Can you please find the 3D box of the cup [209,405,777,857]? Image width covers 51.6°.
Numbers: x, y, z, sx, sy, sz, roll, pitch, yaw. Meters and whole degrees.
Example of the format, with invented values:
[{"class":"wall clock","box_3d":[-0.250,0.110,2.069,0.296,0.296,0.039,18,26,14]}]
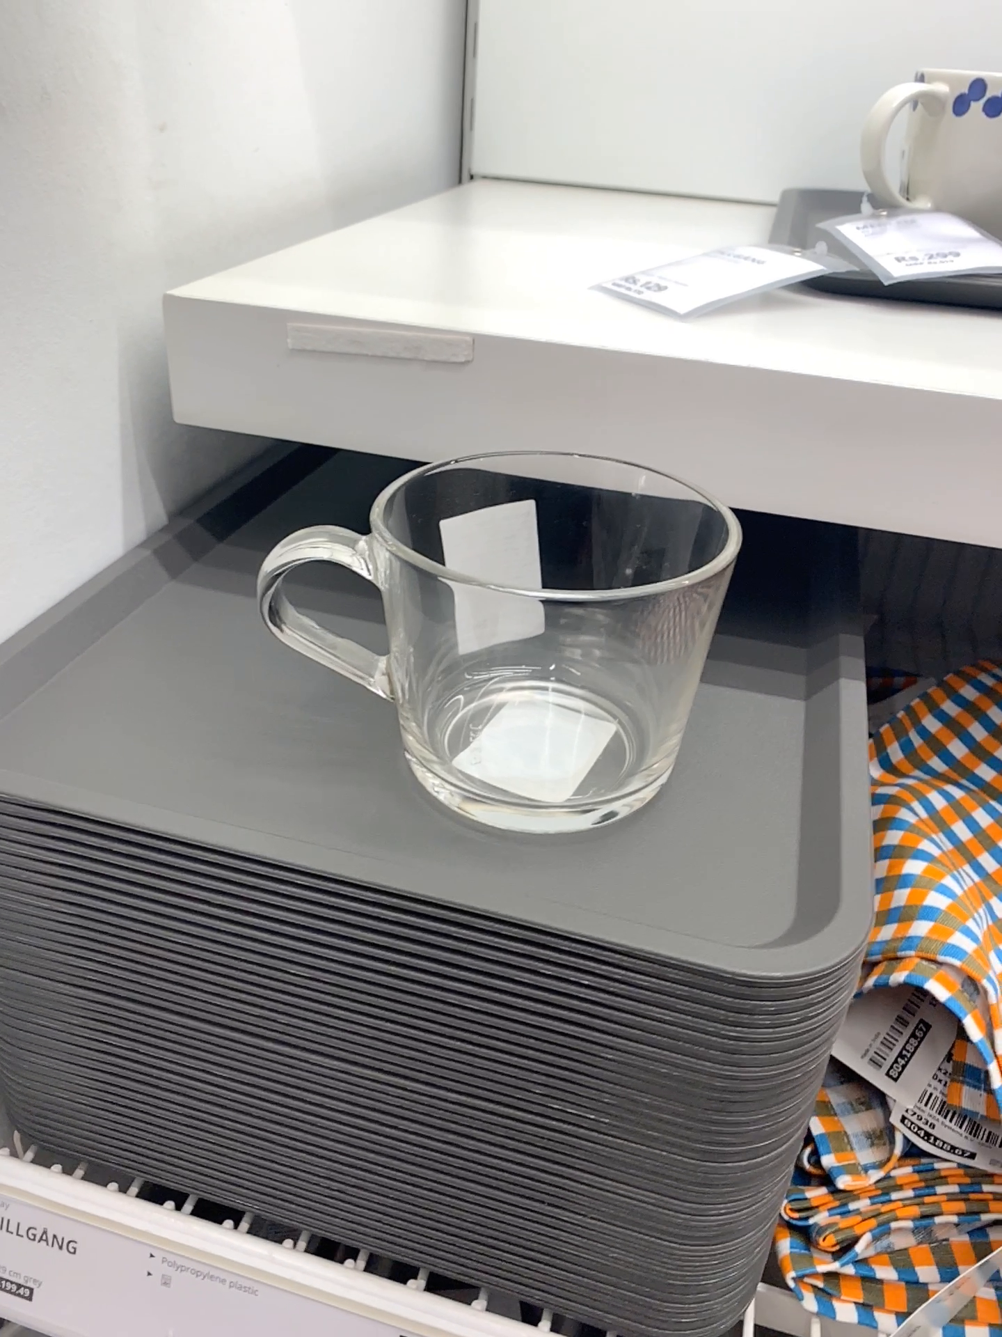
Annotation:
[{"class":"cup","box_3d":[-0.001,-0.017,0.299,0.130,0.080,0.100,6,30,3]}]
